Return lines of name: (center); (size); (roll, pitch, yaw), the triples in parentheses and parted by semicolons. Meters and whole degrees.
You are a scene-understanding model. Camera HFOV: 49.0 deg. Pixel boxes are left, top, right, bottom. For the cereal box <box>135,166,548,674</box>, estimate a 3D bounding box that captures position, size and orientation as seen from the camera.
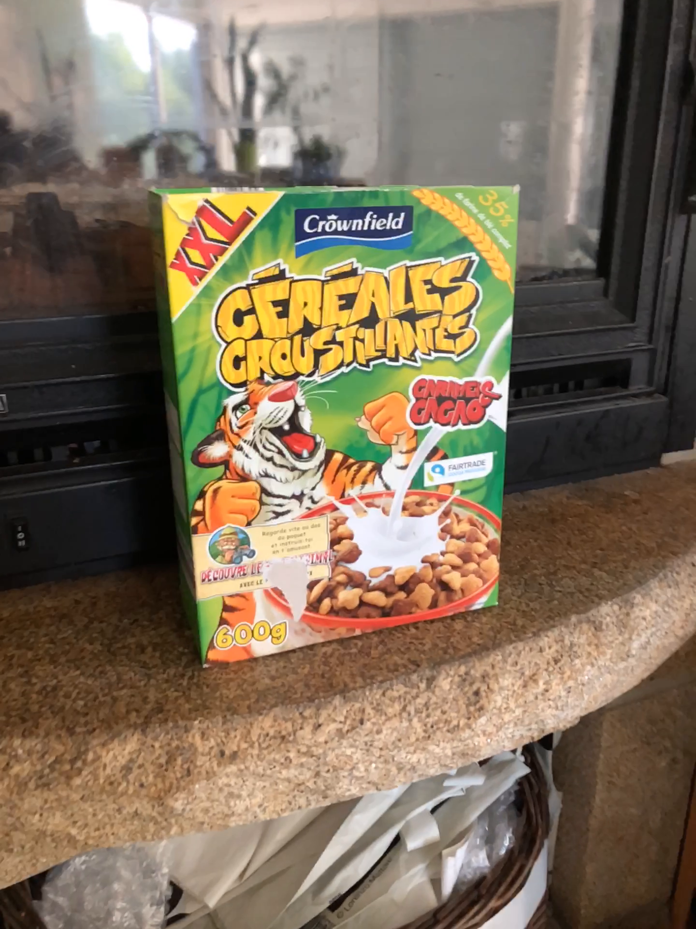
cereal box: (-0.003, -0.036, 0.449); (0.200, 0.259, 0.090); (-8, 21, -20)
